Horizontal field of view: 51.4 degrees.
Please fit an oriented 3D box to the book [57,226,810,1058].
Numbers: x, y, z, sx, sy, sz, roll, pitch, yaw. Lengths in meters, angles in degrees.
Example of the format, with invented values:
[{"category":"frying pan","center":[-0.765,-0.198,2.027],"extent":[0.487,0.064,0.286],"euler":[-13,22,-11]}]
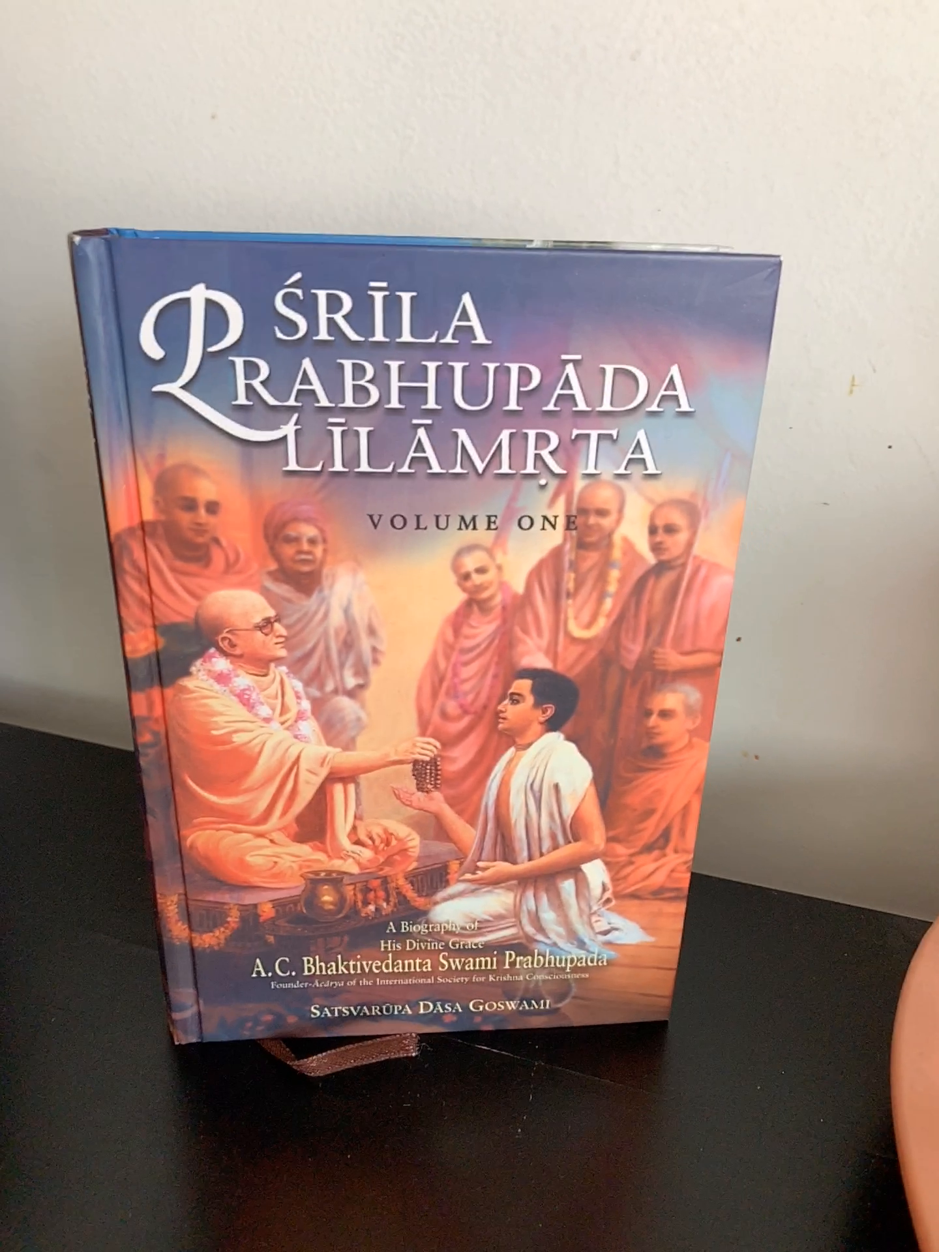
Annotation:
[{"category":"book","center":[-0.010,0.019,0.270],"extent":[0.161,0.233,0.030],"euler":[0,24,-4]}]
